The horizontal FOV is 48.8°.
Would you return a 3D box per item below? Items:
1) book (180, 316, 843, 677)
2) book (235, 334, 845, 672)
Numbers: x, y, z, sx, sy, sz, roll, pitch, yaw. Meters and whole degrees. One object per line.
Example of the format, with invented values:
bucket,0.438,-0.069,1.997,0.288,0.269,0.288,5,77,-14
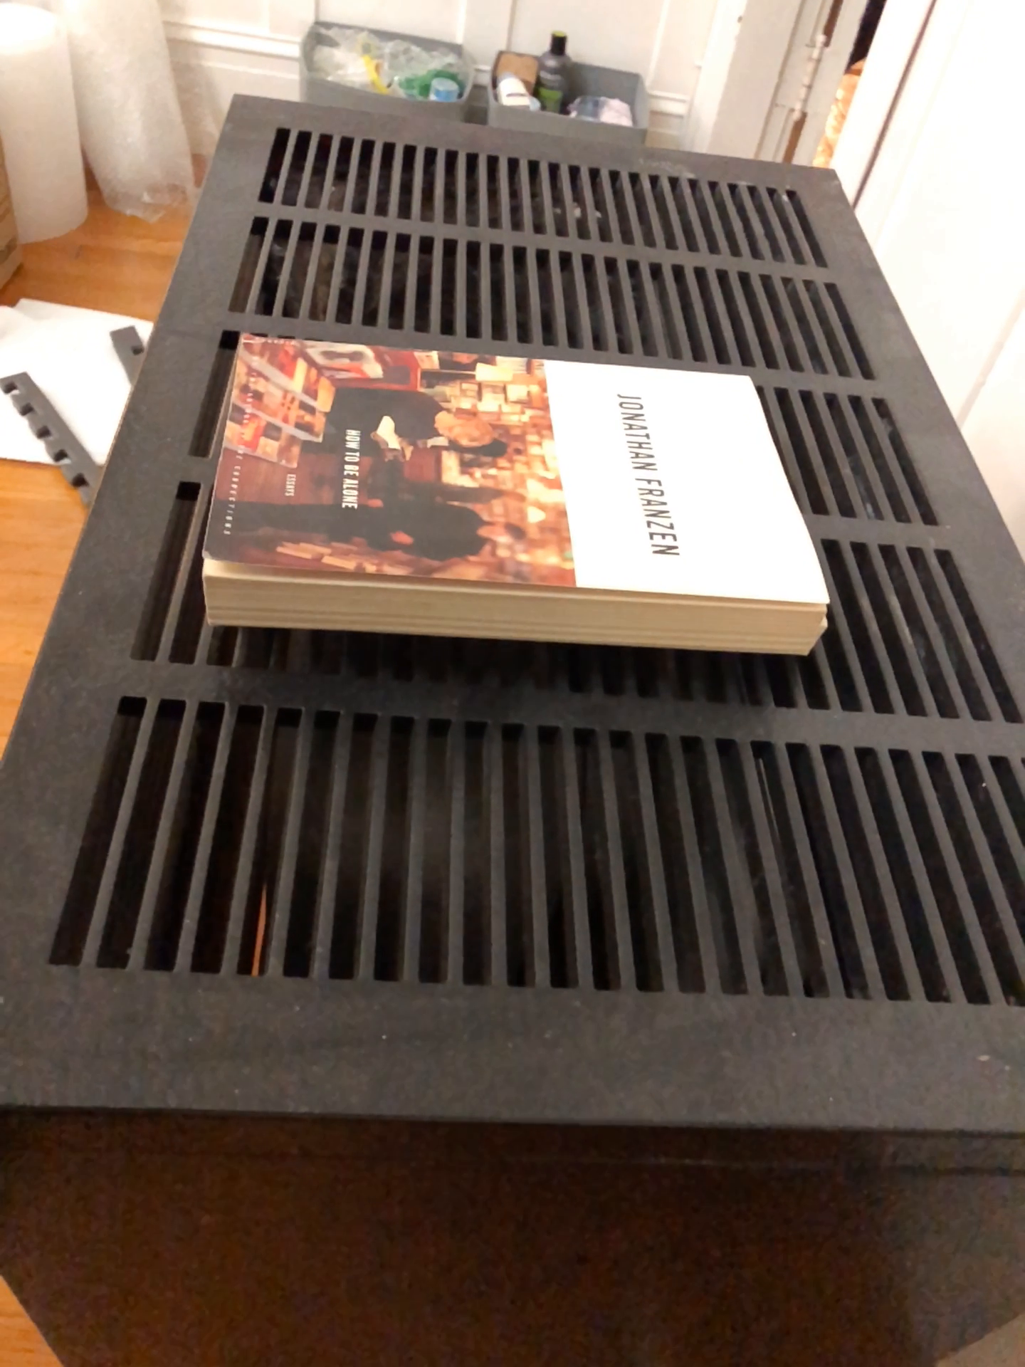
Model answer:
book,-0.004,-0.072,0.414,0.210,0.030,0.151,2,47,-9
book,0.006,-0.074,0.443,0.210,0.030,0.151,2,47,-9
